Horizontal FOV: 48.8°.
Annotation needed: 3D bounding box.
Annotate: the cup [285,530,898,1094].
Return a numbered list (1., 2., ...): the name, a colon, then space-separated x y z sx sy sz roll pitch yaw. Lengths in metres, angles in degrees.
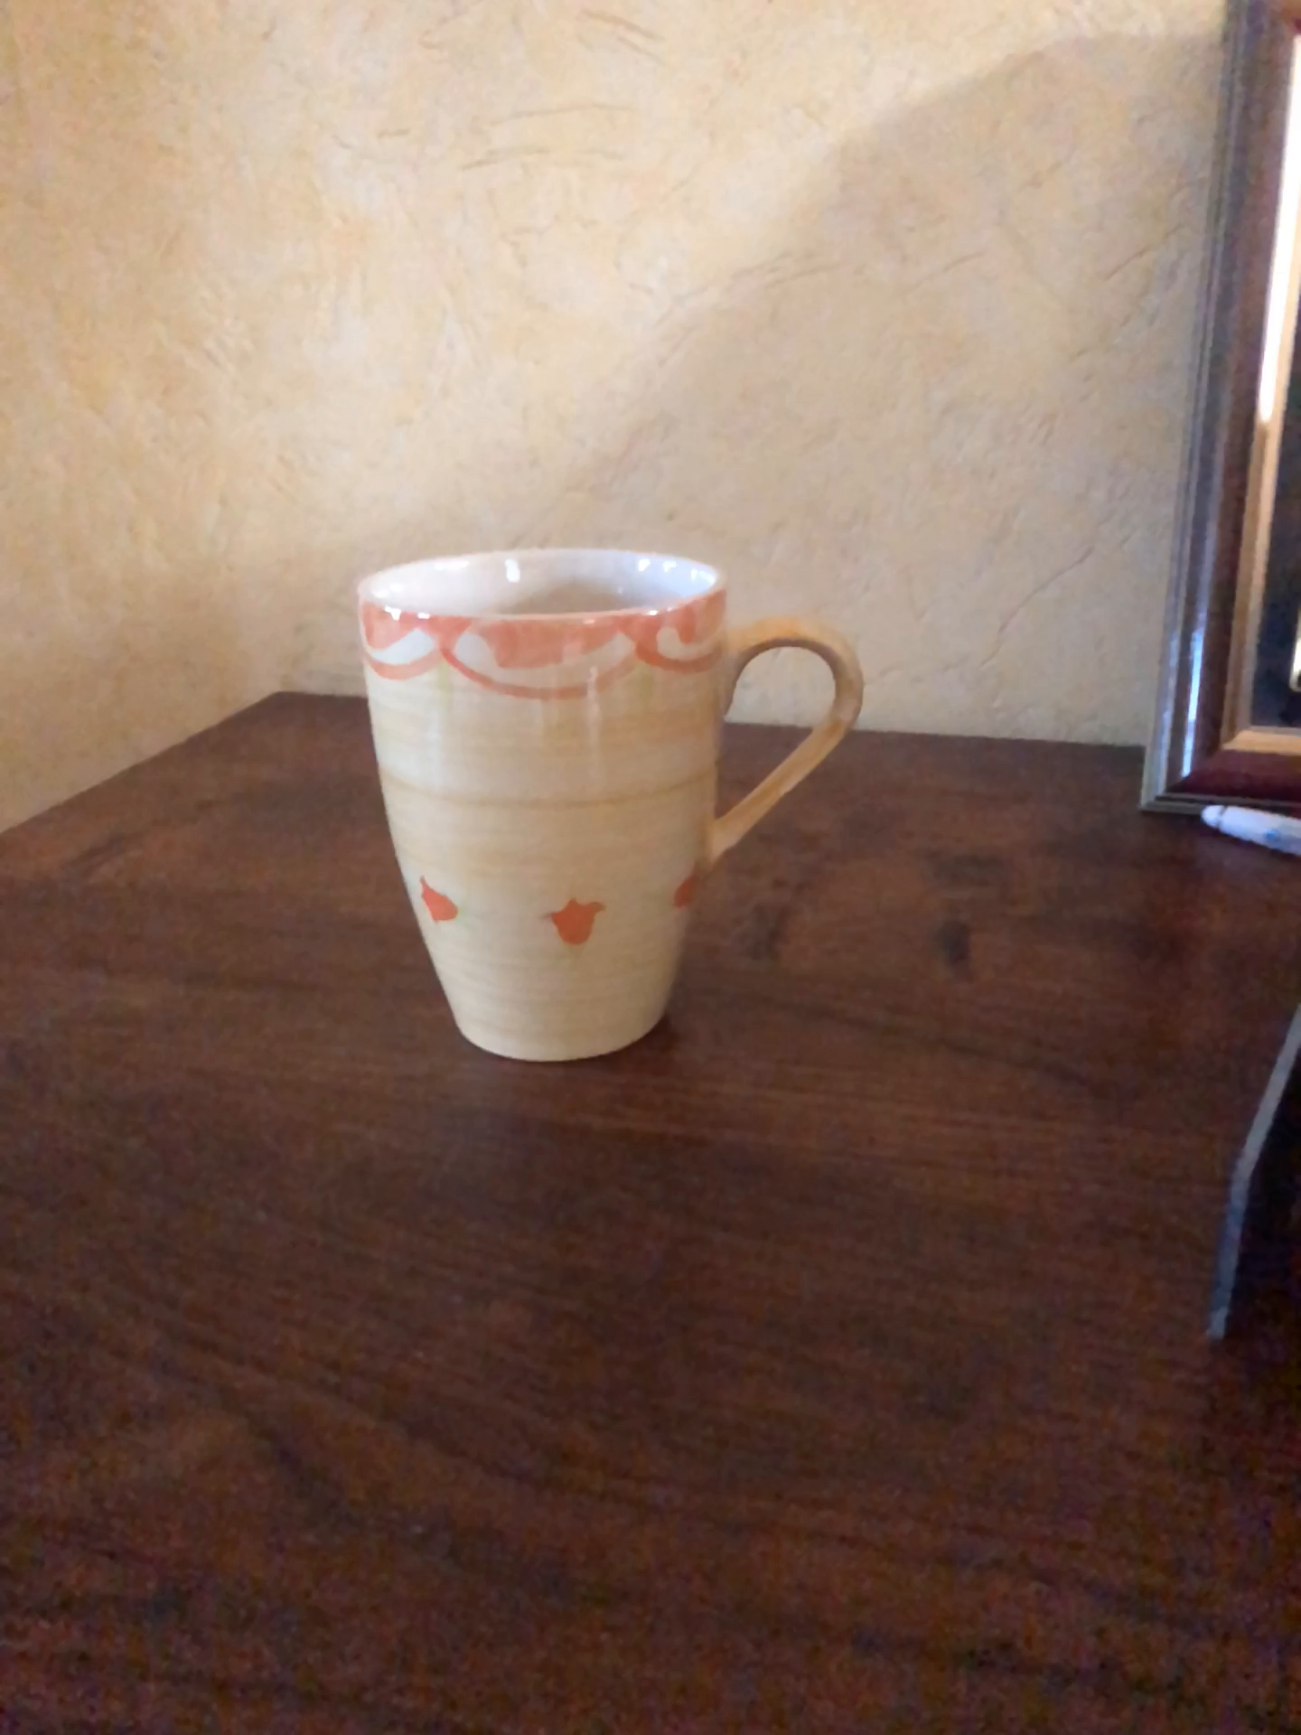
1. cup: -0.015 -0.020 0.344 0.120 0.100 0.100 -4 22 -6
